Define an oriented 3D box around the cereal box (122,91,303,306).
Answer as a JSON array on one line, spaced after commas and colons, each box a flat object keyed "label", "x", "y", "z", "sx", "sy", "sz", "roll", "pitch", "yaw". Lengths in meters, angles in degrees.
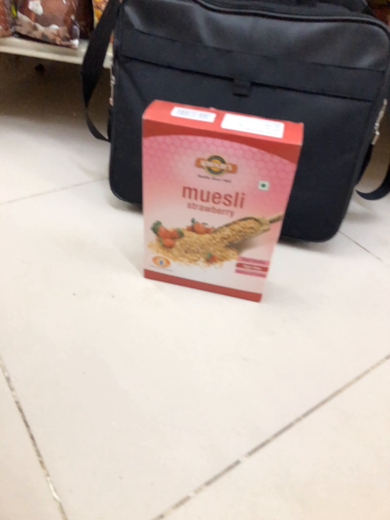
[{"label": "cereal box", "x": 0.013, "y": -0.071, "z": 0.568, "sx": 0.200, "sy": 0.258, "sz": 0.060, "roll": 11, "pitch": 40, "yaw": 8}]
